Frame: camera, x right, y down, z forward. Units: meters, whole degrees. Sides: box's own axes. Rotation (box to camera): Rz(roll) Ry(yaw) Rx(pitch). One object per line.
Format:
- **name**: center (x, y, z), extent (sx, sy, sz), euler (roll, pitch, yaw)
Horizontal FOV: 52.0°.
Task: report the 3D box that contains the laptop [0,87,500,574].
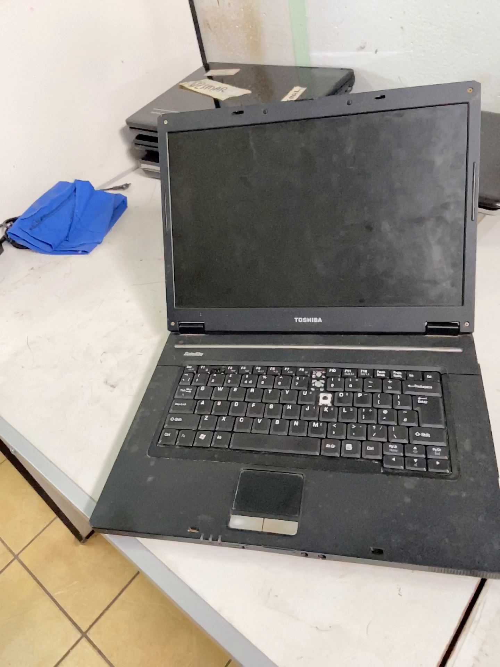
- **laptop**: center (0.047, -0.036, 0.502), extent (0.356, 0.212, 0.404), euler (0, 44, 15)
